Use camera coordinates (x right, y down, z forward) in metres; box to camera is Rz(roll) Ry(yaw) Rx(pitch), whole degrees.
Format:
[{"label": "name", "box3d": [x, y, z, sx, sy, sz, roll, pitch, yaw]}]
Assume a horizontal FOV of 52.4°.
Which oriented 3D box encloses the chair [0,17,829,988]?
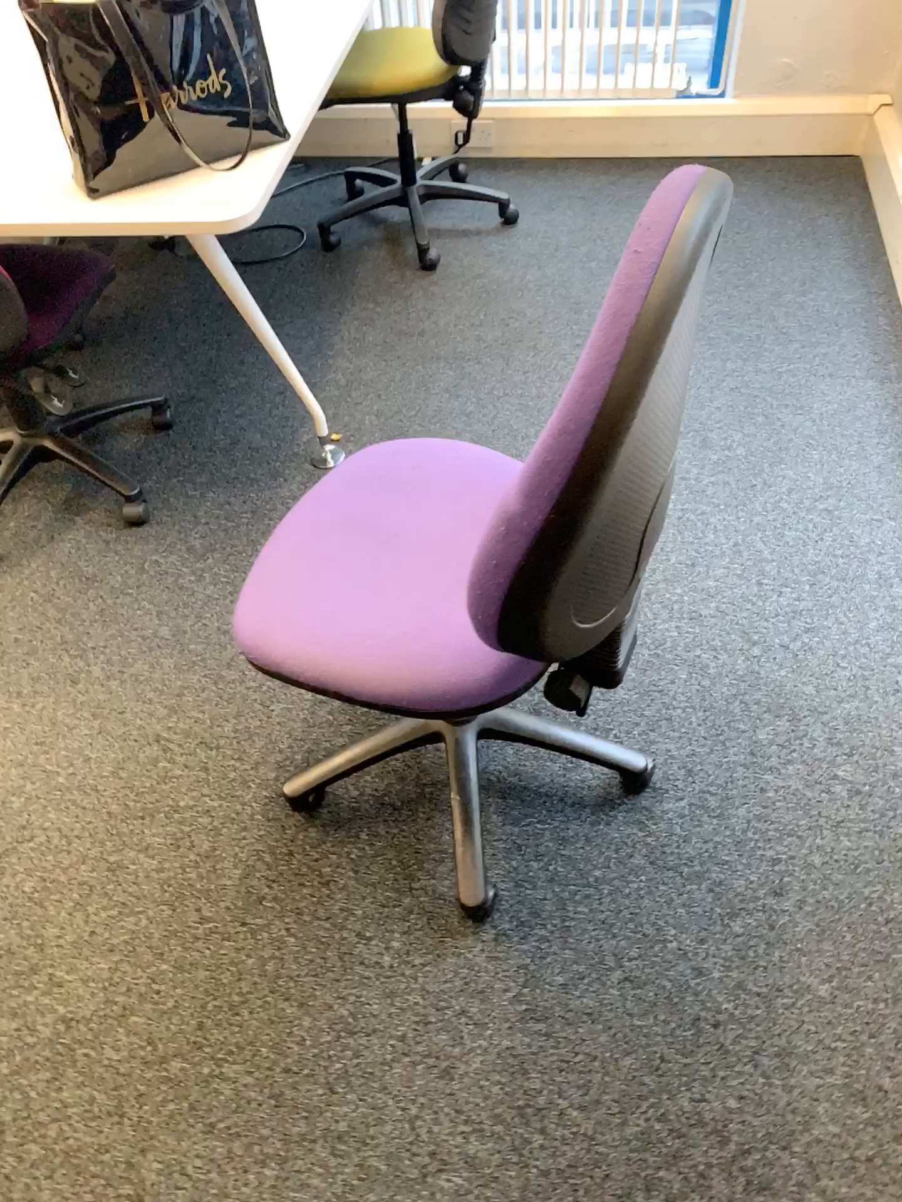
[{"label": "chair", "box3d": [0.015, -0.096, 1.222, 0.635, 0.985, 0.673, 14, 51, 17]}]
